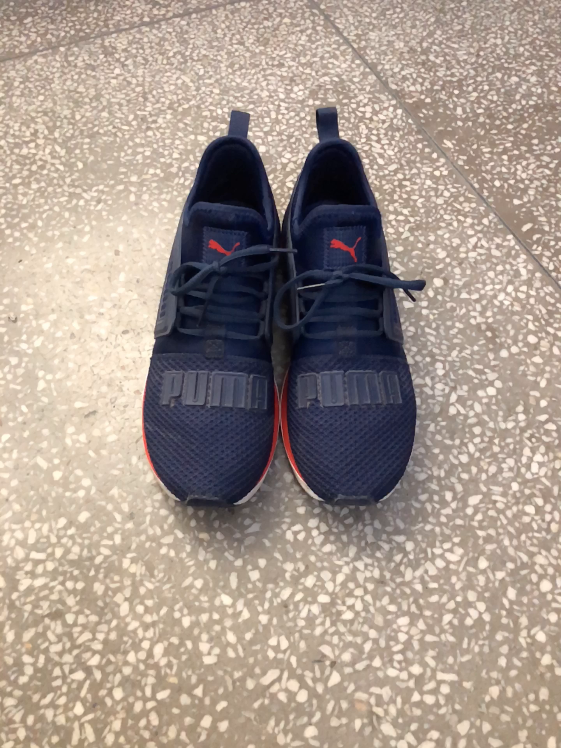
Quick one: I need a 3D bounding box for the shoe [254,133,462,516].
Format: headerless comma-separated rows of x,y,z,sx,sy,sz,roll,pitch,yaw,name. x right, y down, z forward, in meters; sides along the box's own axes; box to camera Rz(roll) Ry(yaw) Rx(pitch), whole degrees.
0.042,-0.035,0.431,0.100,0.120,0.230,-5,61,2,shoe

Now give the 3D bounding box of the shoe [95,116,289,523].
-0.055,-0.046,0.432,0.100,0.100,0.270,-2,61,-3,shoe
